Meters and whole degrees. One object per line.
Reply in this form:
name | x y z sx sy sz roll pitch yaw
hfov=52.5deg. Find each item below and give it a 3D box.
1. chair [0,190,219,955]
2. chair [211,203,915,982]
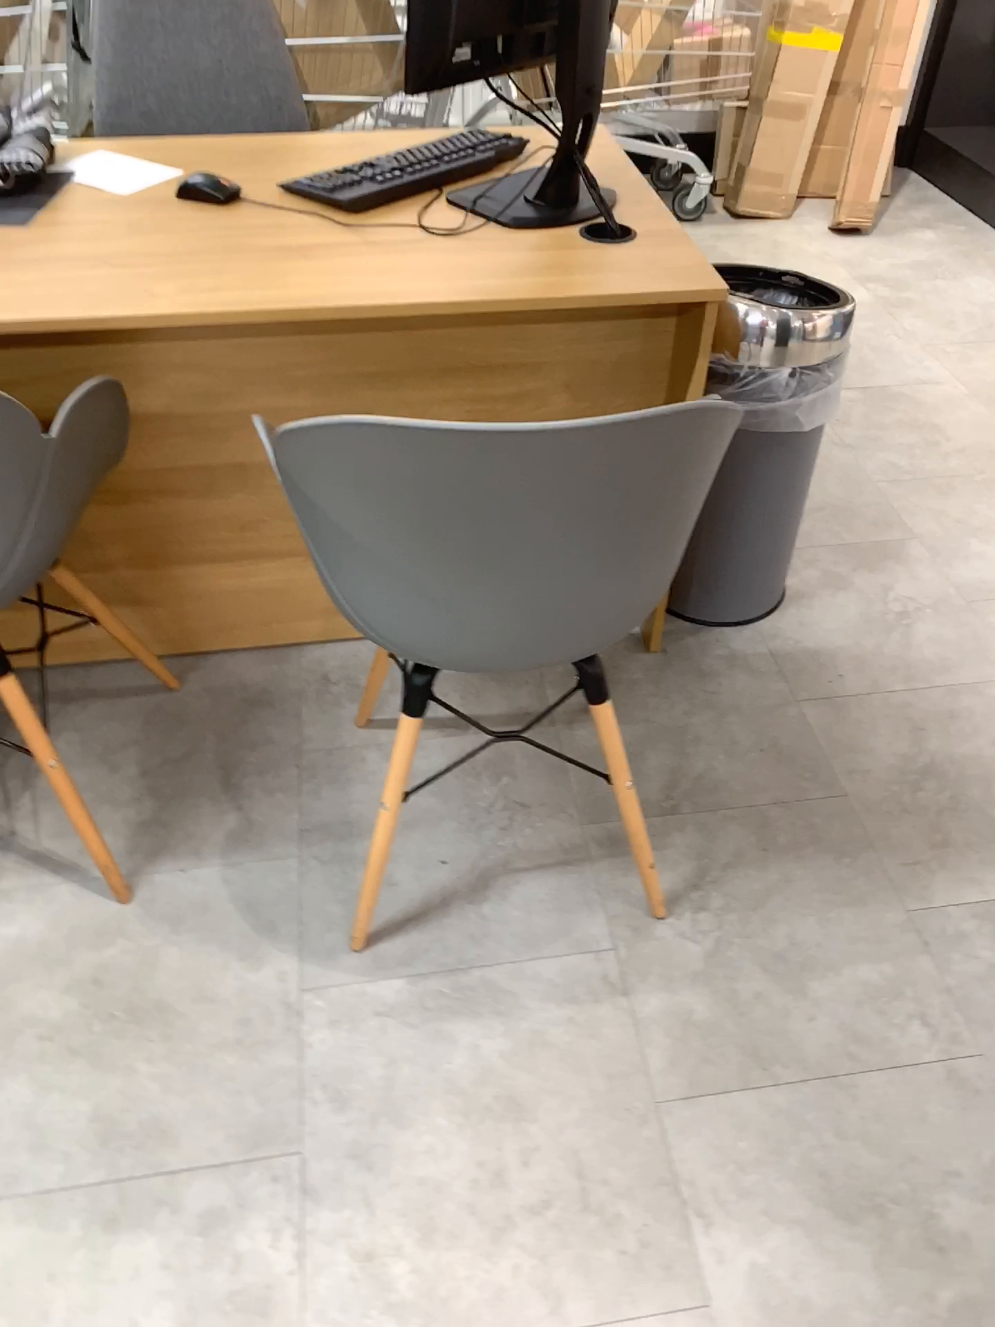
chair | -0.762 -0.105 1.342 0.587 0.808 0.551 -4 43 -6
chair | 0.027 -0.078 1.318 0.597 0.808 0.551 -4 43 -6
